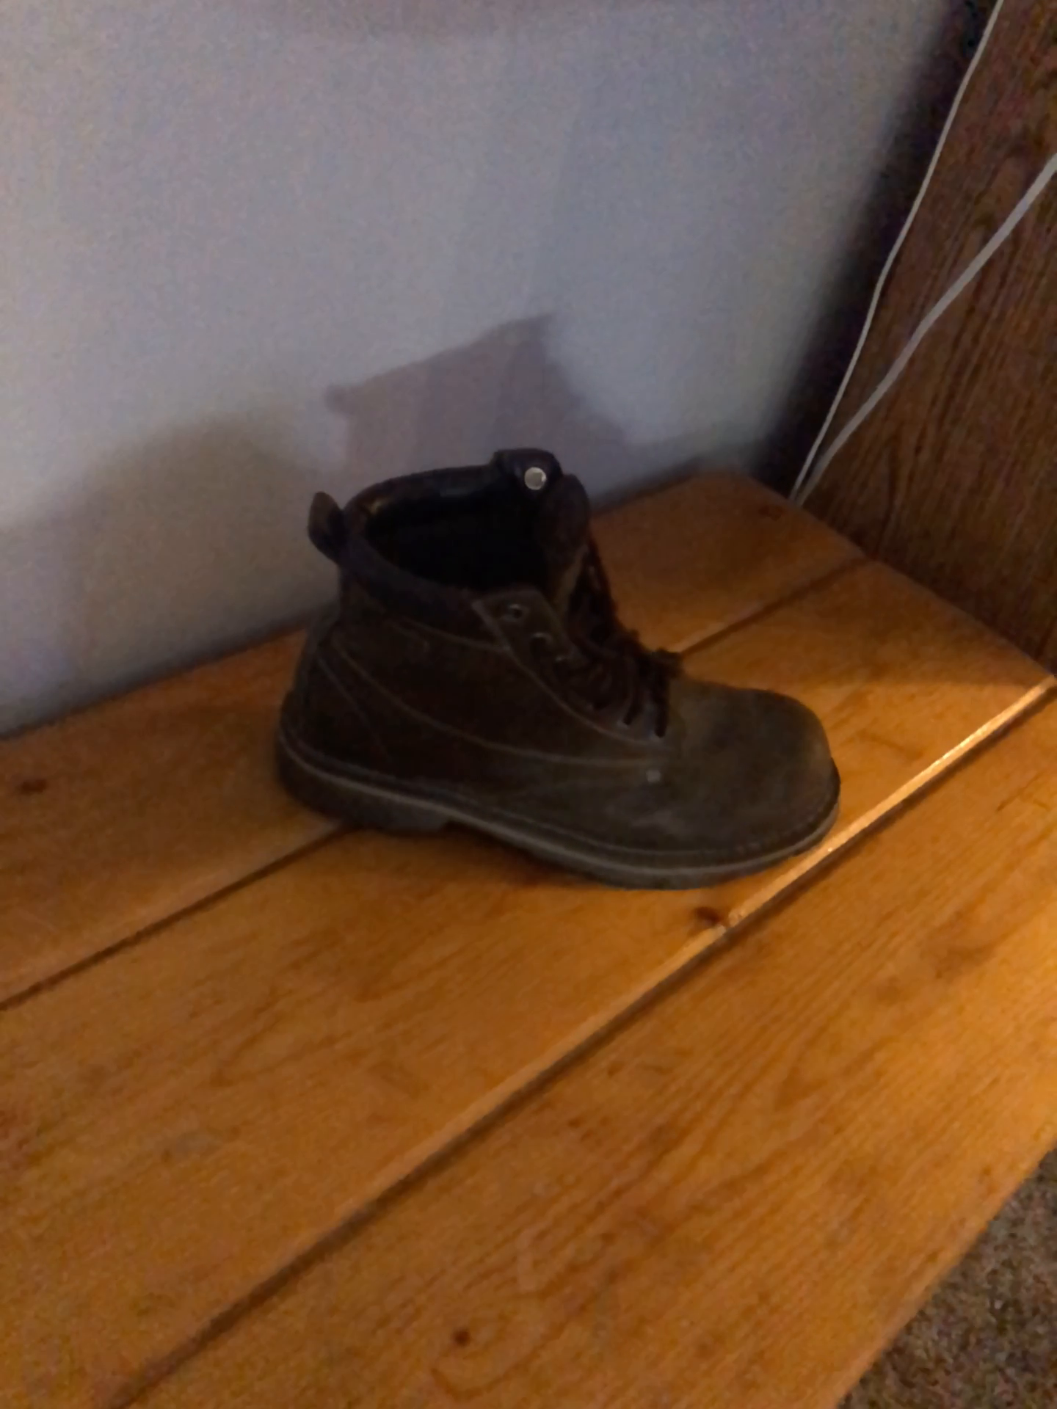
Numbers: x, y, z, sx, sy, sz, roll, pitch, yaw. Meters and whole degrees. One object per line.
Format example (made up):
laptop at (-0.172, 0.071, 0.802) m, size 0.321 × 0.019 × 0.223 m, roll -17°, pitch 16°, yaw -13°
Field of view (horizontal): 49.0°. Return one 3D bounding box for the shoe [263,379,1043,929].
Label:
shoe at (0.043, -0.019, 0.582) m, size 0.320 × 0.189 × 0.130 m, roll 9°, pitch 42°, yaw -5°
